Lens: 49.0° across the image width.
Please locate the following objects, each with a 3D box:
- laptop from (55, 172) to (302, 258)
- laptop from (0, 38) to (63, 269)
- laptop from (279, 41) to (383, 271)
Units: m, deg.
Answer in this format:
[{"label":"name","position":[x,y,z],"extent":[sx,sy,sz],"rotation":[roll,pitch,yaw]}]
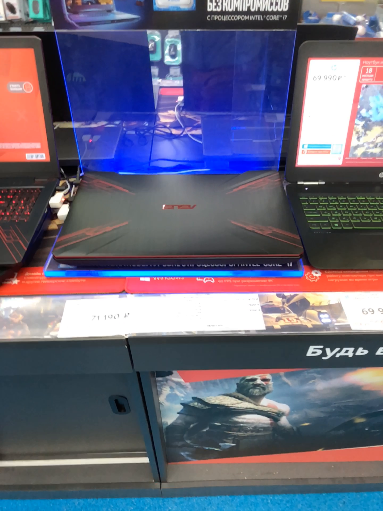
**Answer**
[{"label":"laptop","position":[-0.021,-0.079,0.729],"extent":[0.373,0.006,0.244],"rotation":[-1,40,1]},{"label":"laptop","position":[-0.449,-0.175,0.663],"extent":[0.390,0.231,0.320],"rotation":[-2,39,-1]},{"label":"laptop","position":[0.367,-0.170,0.673],"extent":[0.374,0.242,0.293],"rotation":[0,40,0]}]
